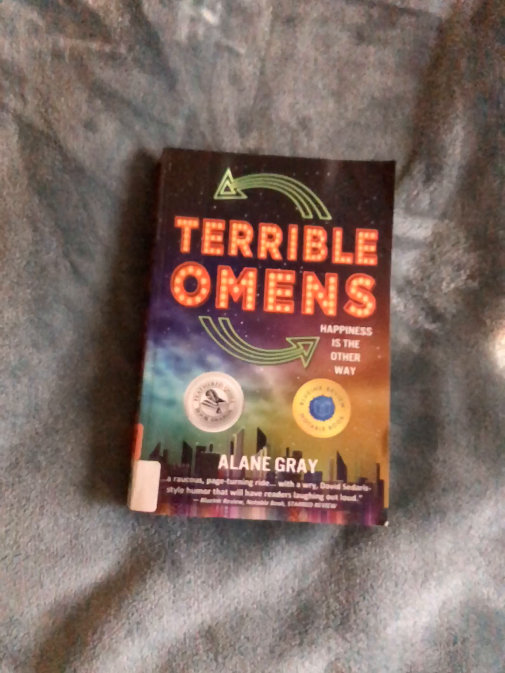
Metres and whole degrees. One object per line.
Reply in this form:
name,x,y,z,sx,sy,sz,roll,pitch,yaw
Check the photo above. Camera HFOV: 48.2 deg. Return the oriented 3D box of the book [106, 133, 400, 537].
book,0.005,-0.003,0.300,0.140,0.028,0.200,4,80,-4
